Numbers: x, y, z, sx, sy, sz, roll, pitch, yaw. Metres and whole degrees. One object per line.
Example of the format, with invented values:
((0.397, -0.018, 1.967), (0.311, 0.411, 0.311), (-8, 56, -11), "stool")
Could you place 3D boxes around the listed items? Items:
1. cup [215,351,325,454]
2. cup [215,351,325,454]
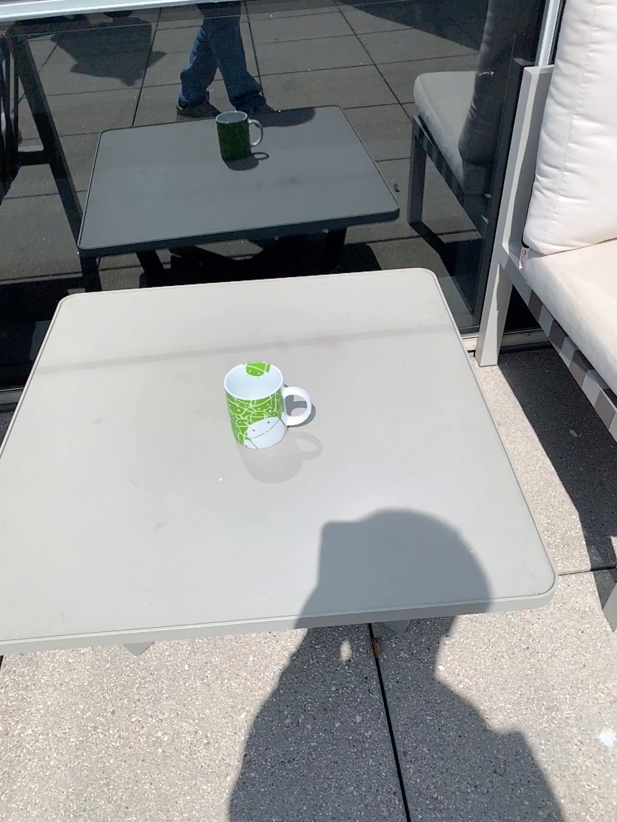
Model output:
((-0.051, -0.011, 0.852), (0.130, 0.090, 0.080), (-9, 44, -5), "cup")
((-0.051, -0.011, 0.852), (0.130, 0.090, 0.080), (-9, 44, -5), "cup")
